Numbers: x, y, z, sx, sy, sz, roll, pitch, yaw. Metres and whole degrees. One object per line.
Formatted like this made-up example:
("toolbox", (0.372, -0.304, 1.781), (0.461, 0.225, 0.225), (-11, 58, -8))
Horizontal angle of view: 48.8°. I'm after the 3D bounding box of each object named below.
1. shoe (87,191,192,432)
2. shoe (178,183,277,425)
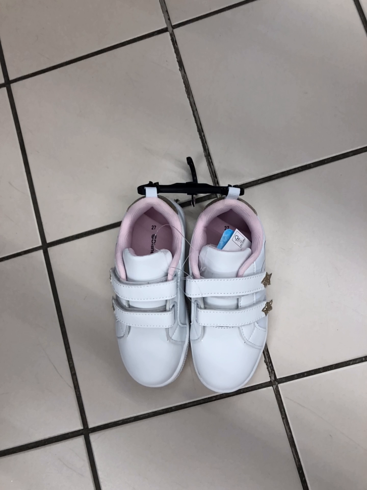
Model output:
("shoe", (-0.036, 0.057, 0.379), (0.080, 0.070, 0.200), (-1, 83, 7))
("shoe", (0.040, 0.050, 0.377), (0.080, 0.070, 0.200), (-1, 83, 7))
